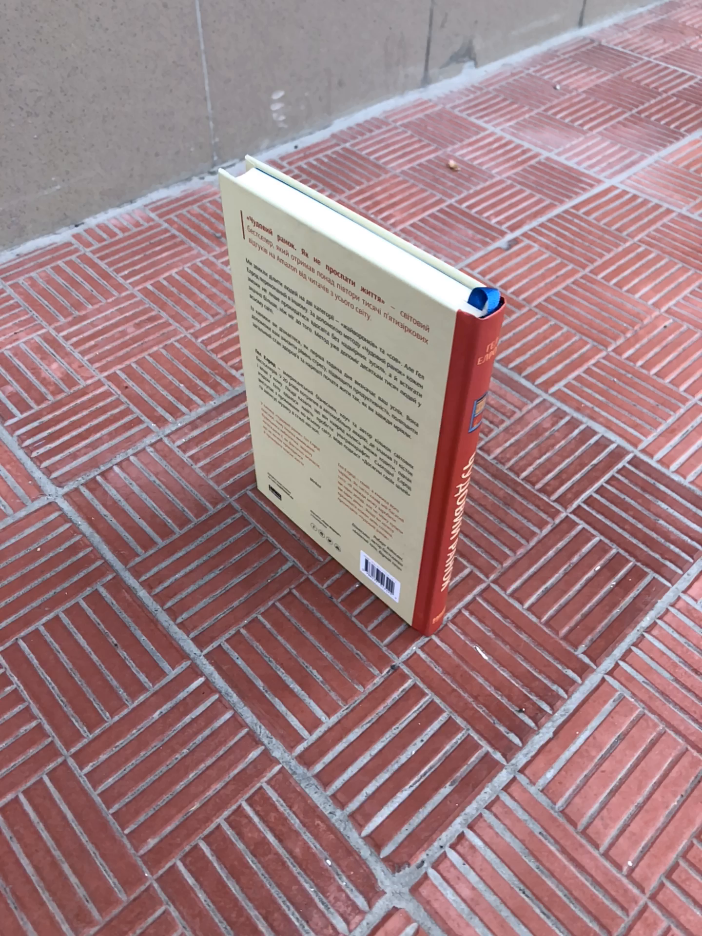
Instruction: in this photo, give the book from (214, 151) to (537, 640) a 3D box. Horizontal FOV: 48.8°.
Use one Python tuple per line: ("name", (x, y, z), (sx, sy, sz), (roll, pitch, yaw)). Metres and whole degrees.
("book", (0.002, -0.024, 0.360), (0.025, 0.196, 0.145), (-35, 57, -28))
